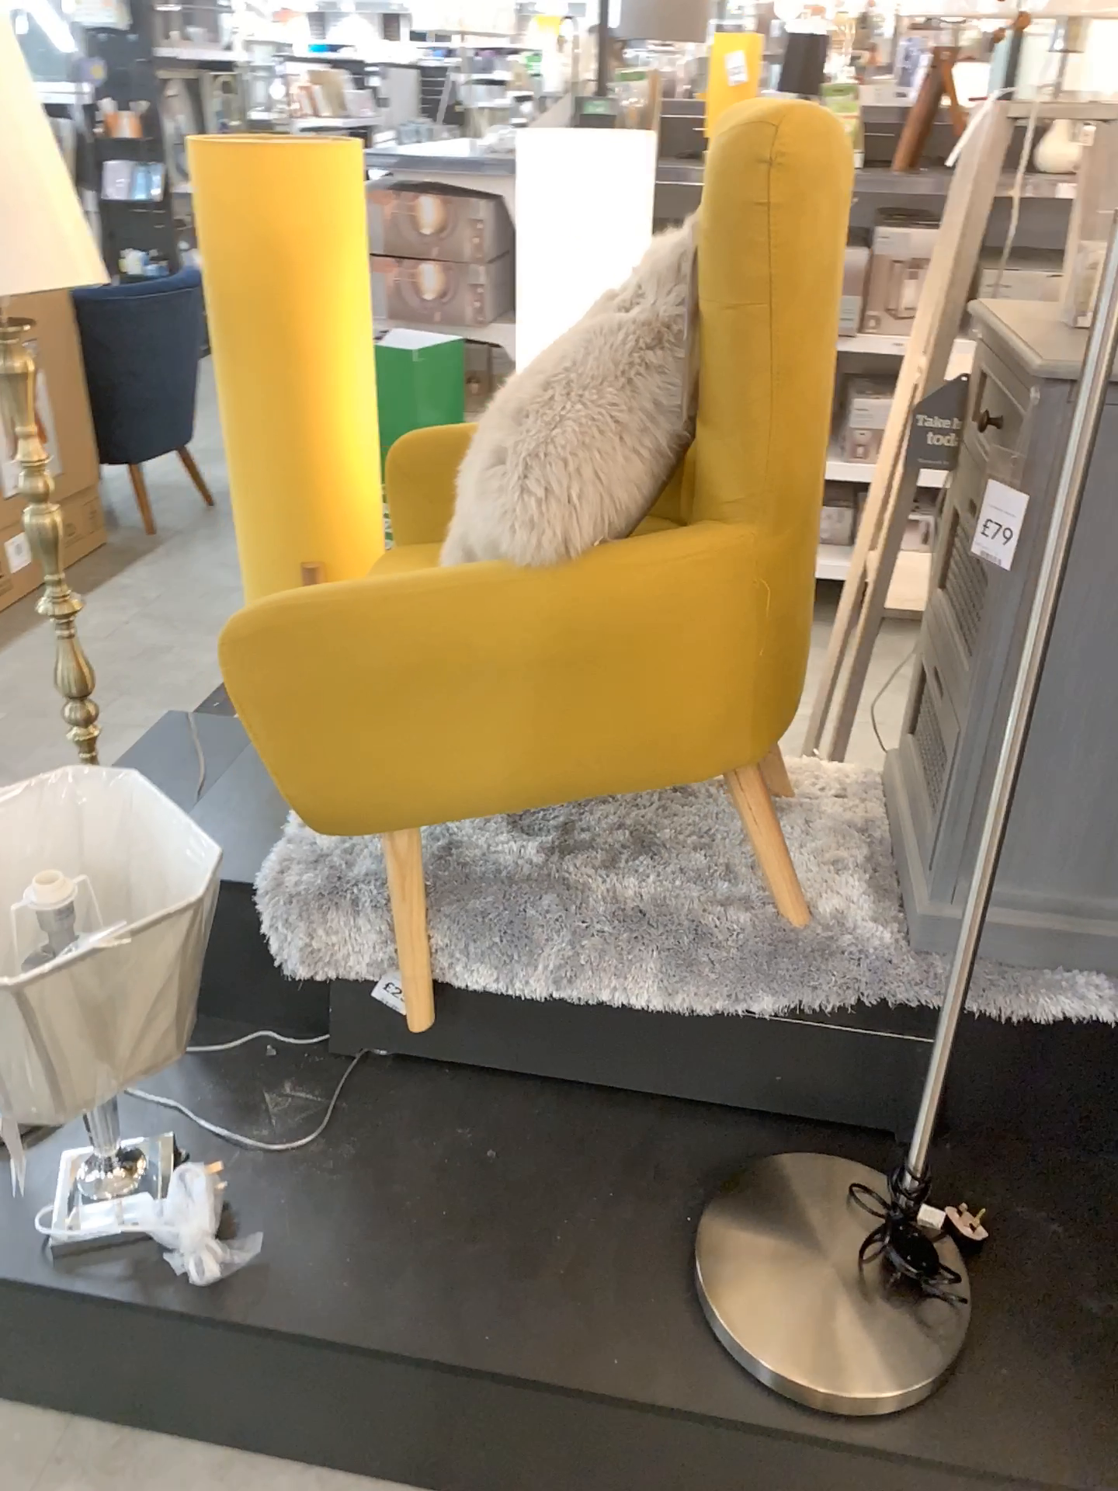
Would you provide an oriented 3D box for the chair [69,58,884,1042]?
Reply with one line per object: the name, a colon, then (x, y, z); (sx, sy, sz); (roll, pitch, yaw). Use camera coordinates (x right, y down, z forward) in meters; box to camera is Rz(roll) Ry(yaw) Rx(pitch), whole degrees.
chair: (0.016, -0.221, 1.452); (0.710, 1.021, 0.595); (-3, 28, 11)
